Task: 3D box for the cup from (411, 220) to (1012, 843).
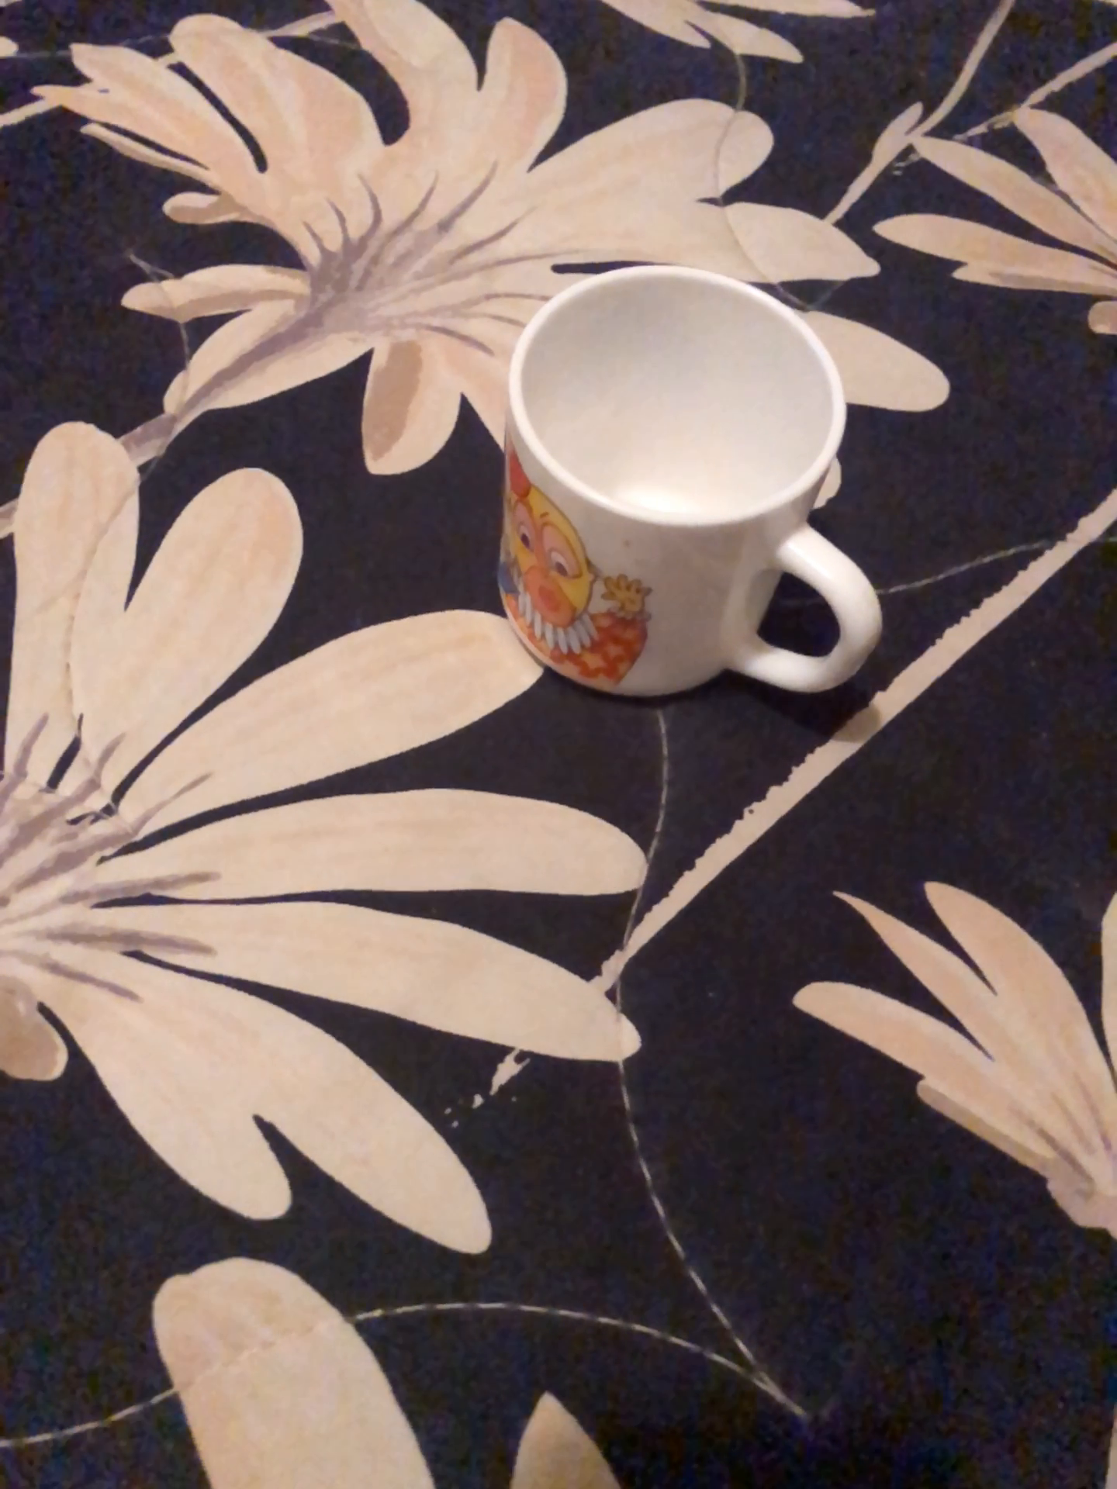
[{"bbox_3d":[0.031,-0.054,0.308,0.085,0.077,0.108,-31,64,-20],"label":"cup"}]
